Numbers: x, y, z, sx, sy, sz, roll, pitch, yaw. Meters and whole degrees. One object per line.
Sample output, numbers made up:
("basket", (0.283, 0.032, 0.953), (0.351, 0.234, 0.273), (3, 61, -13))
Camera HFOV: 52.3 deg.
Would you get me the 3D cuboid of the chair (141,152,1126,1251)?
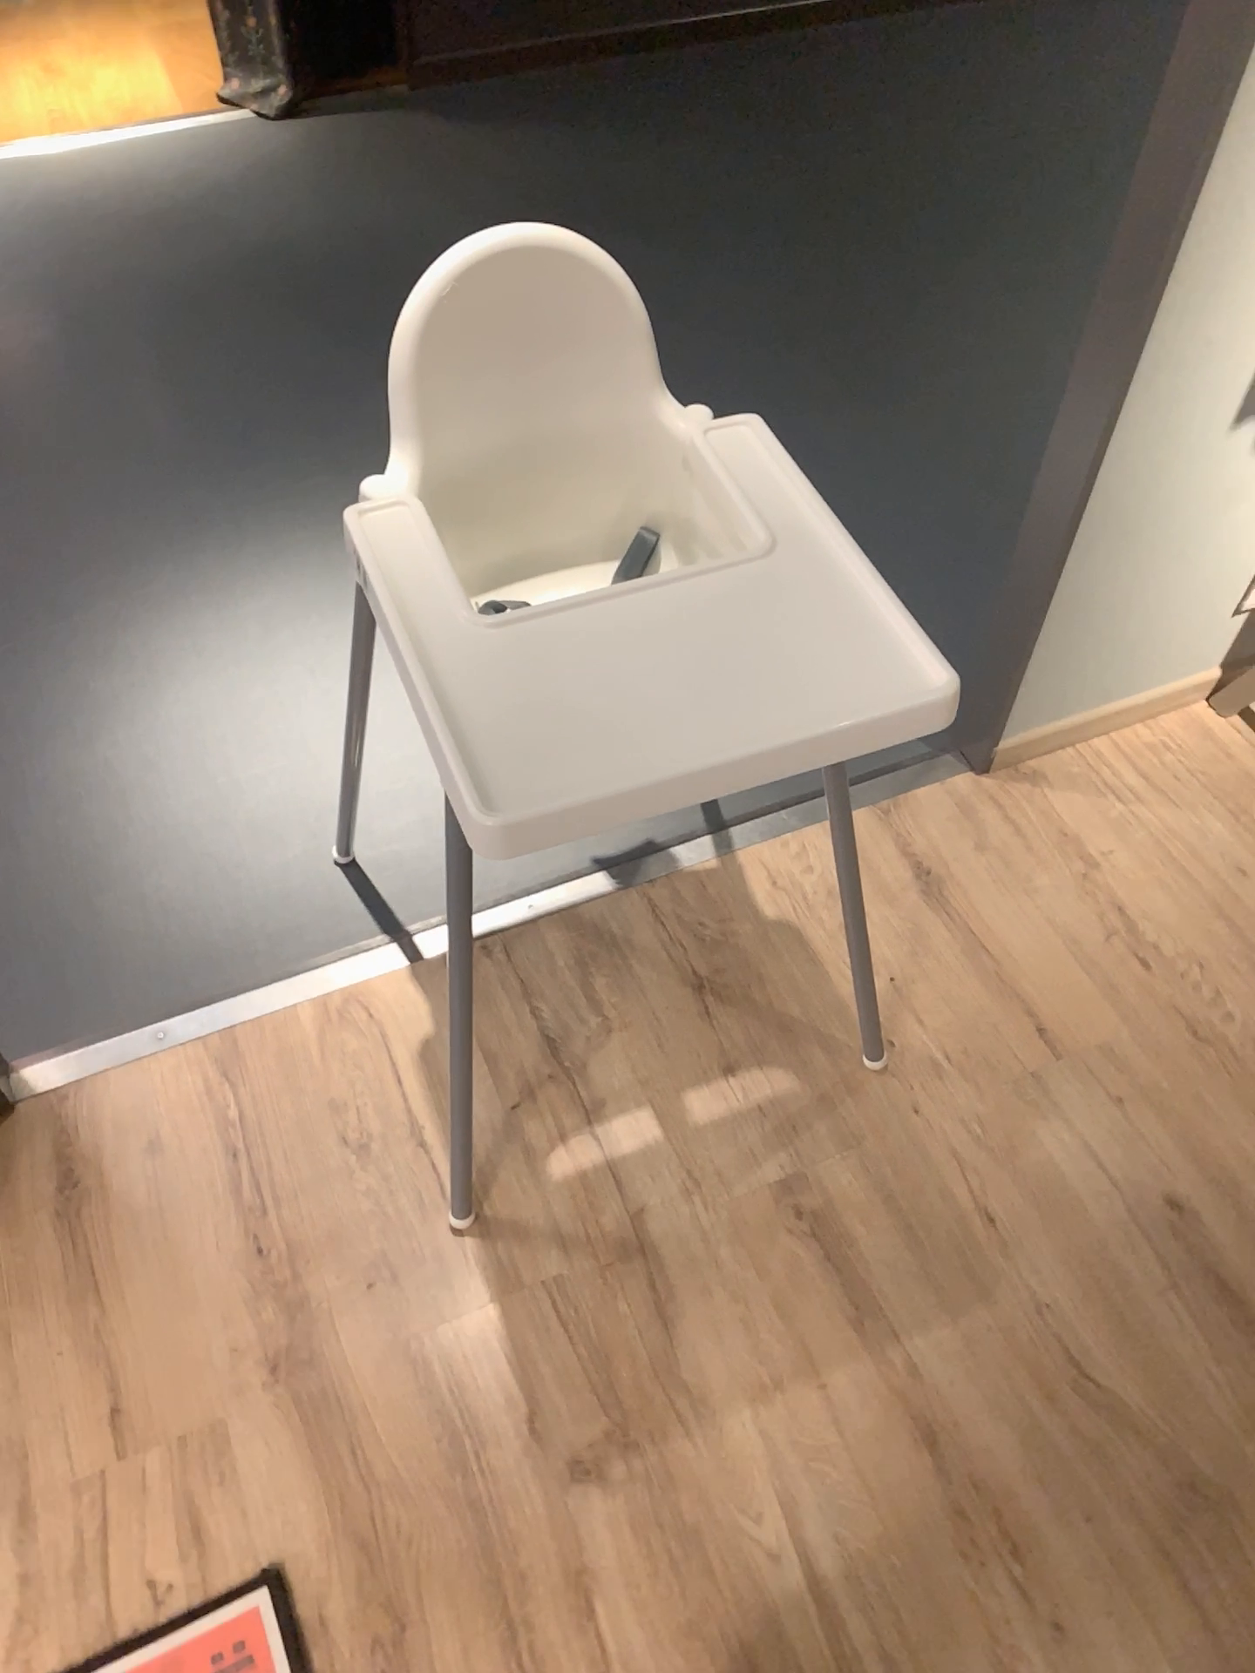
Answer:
("chair", (-0.042, -0.110, 1.312), (0.570, 0.798, 0.622), (-18, 55, -15))
